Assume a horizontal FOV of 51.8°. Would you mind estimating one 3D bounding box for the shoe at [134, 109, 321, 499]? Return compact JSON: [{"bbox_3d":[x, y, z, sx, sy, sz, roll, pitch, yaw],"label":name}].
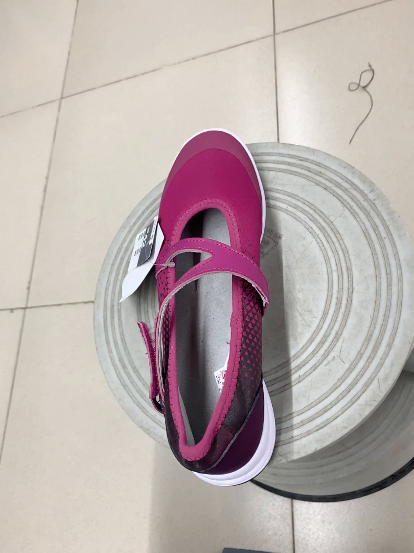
[{"bbox_3d":[0.008,0.015,0.320,0.100,0.070,0.260,-12,67,18],"label":"shoe"}]
